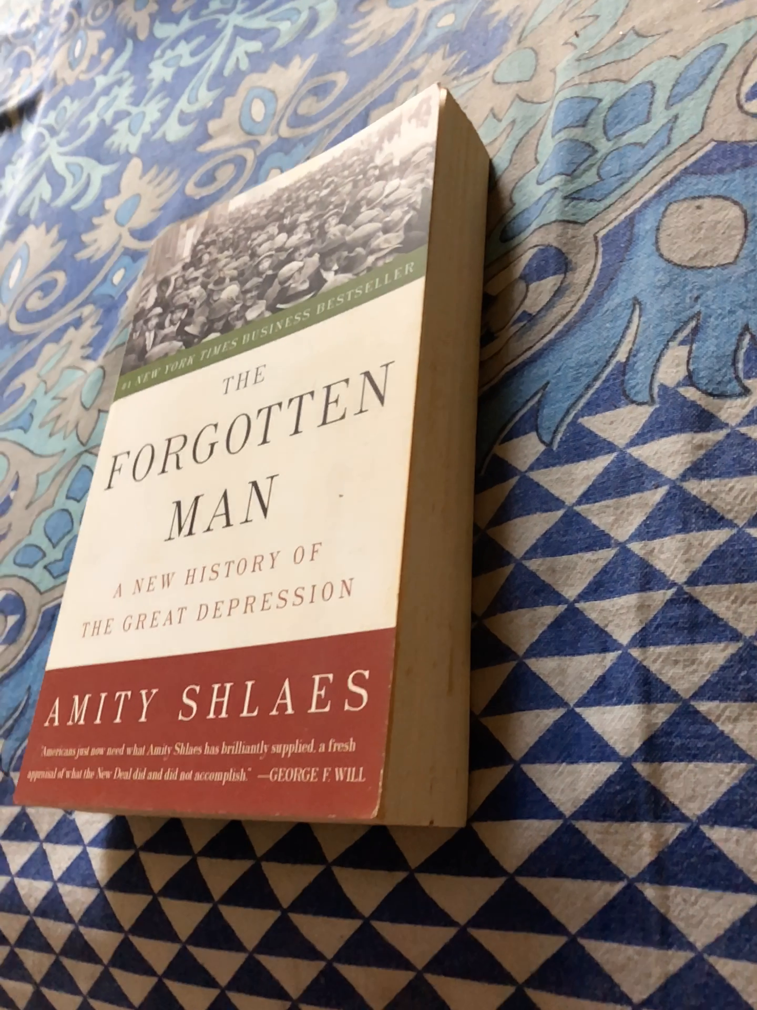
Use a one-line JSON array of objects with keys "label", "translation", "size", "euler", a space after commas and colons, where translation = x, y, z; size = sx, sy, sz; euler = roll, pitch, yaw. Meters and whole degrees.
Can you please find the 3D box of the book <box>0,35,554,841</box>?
[{"label": "book", "translation": [-0.029, -0.013, 0.246], "size": [0.140, 0.050, 0.200], "euler": [-14, 61, 33]}]
